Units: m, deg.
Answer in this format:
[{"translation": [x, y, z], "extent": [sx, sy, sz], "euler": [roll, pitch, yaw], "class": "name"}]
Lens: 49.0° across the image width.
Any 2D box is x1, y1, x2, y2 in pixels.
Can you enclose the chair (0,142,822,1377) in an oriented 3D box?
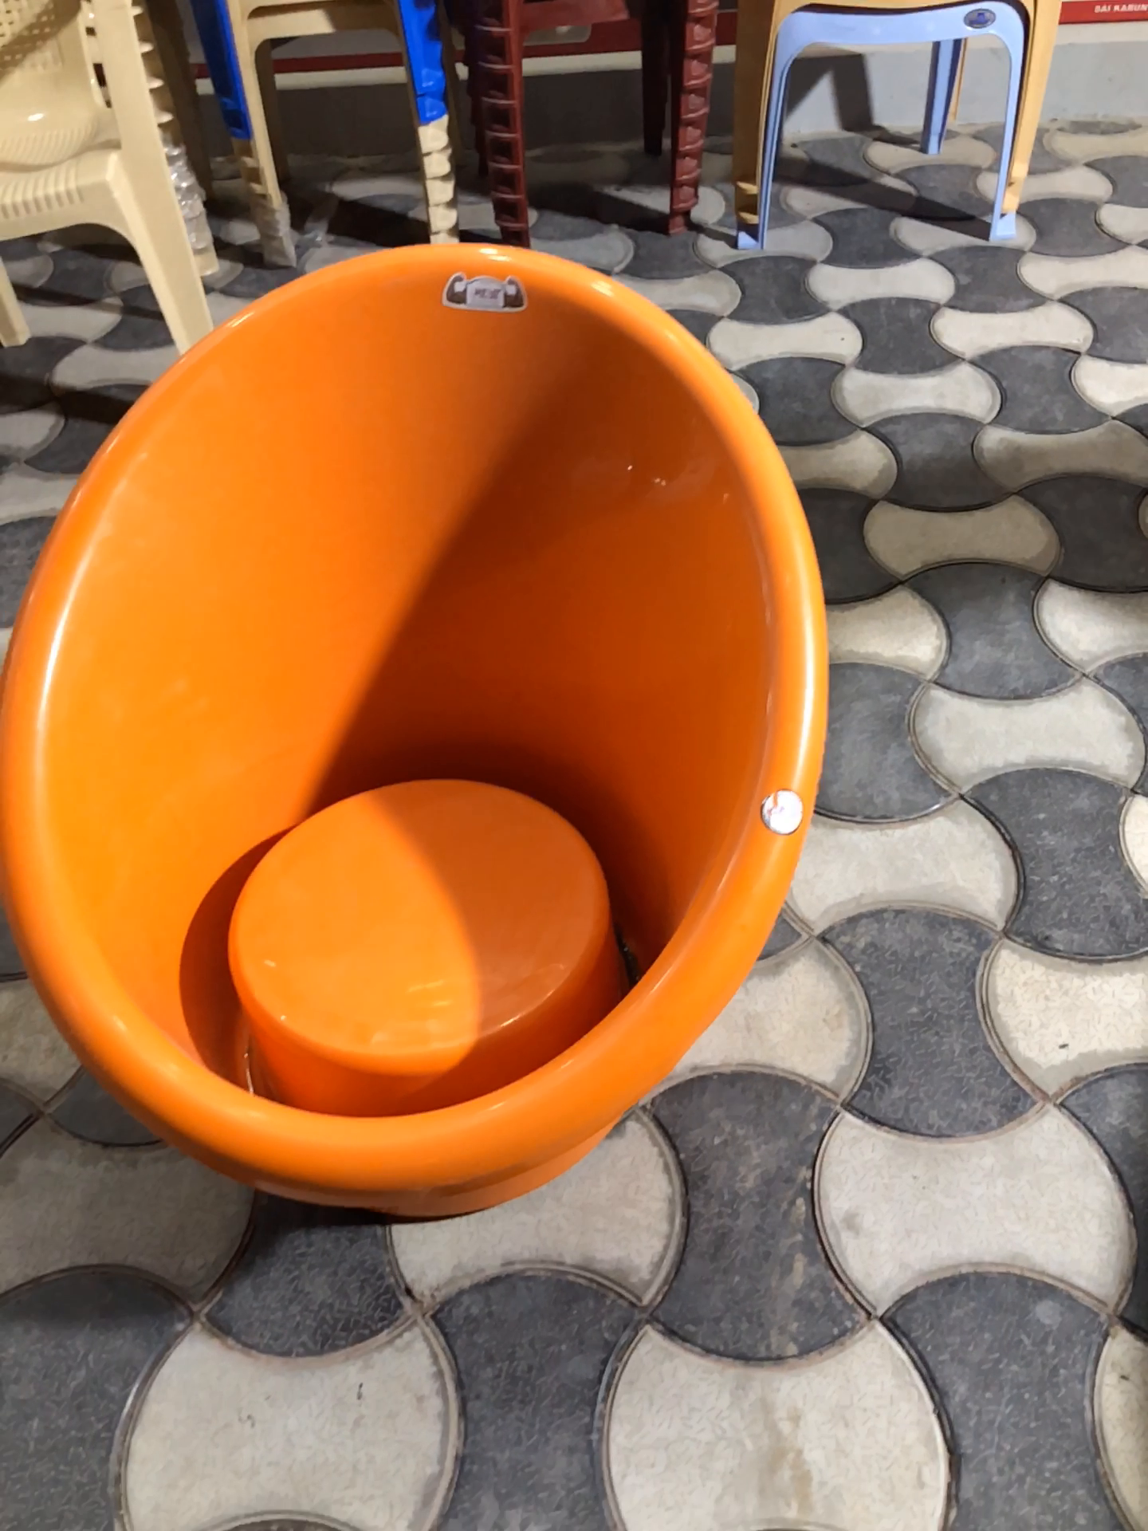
[{"translation": [-0.168, -0.049, 1.055], "extent": [0.660, 0.666, 0.724], "euler": [5, 43, 9], "class": "chair"}]
